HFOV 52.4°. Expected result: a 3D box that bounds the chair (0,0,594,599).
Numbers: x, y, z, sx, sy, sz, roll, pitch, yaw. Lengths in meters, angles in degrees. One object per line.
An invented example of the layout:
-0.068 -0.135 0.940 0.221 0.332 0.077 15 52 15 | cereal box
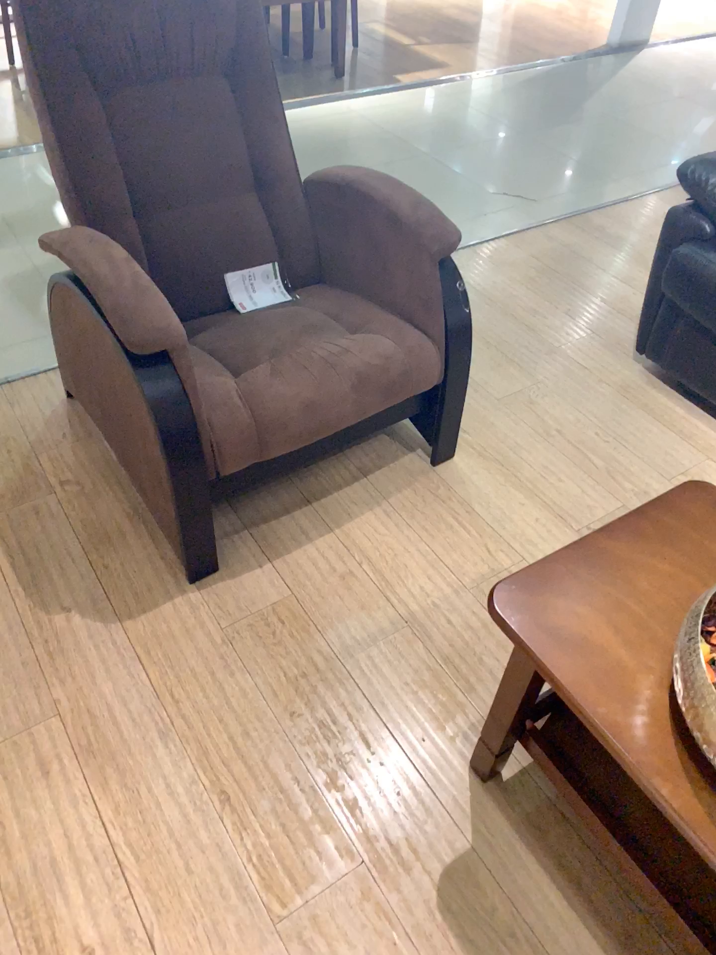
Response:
-0.266 -0.527 1.566 0.801 0.887 1.002 -25 52 -26 | chair
